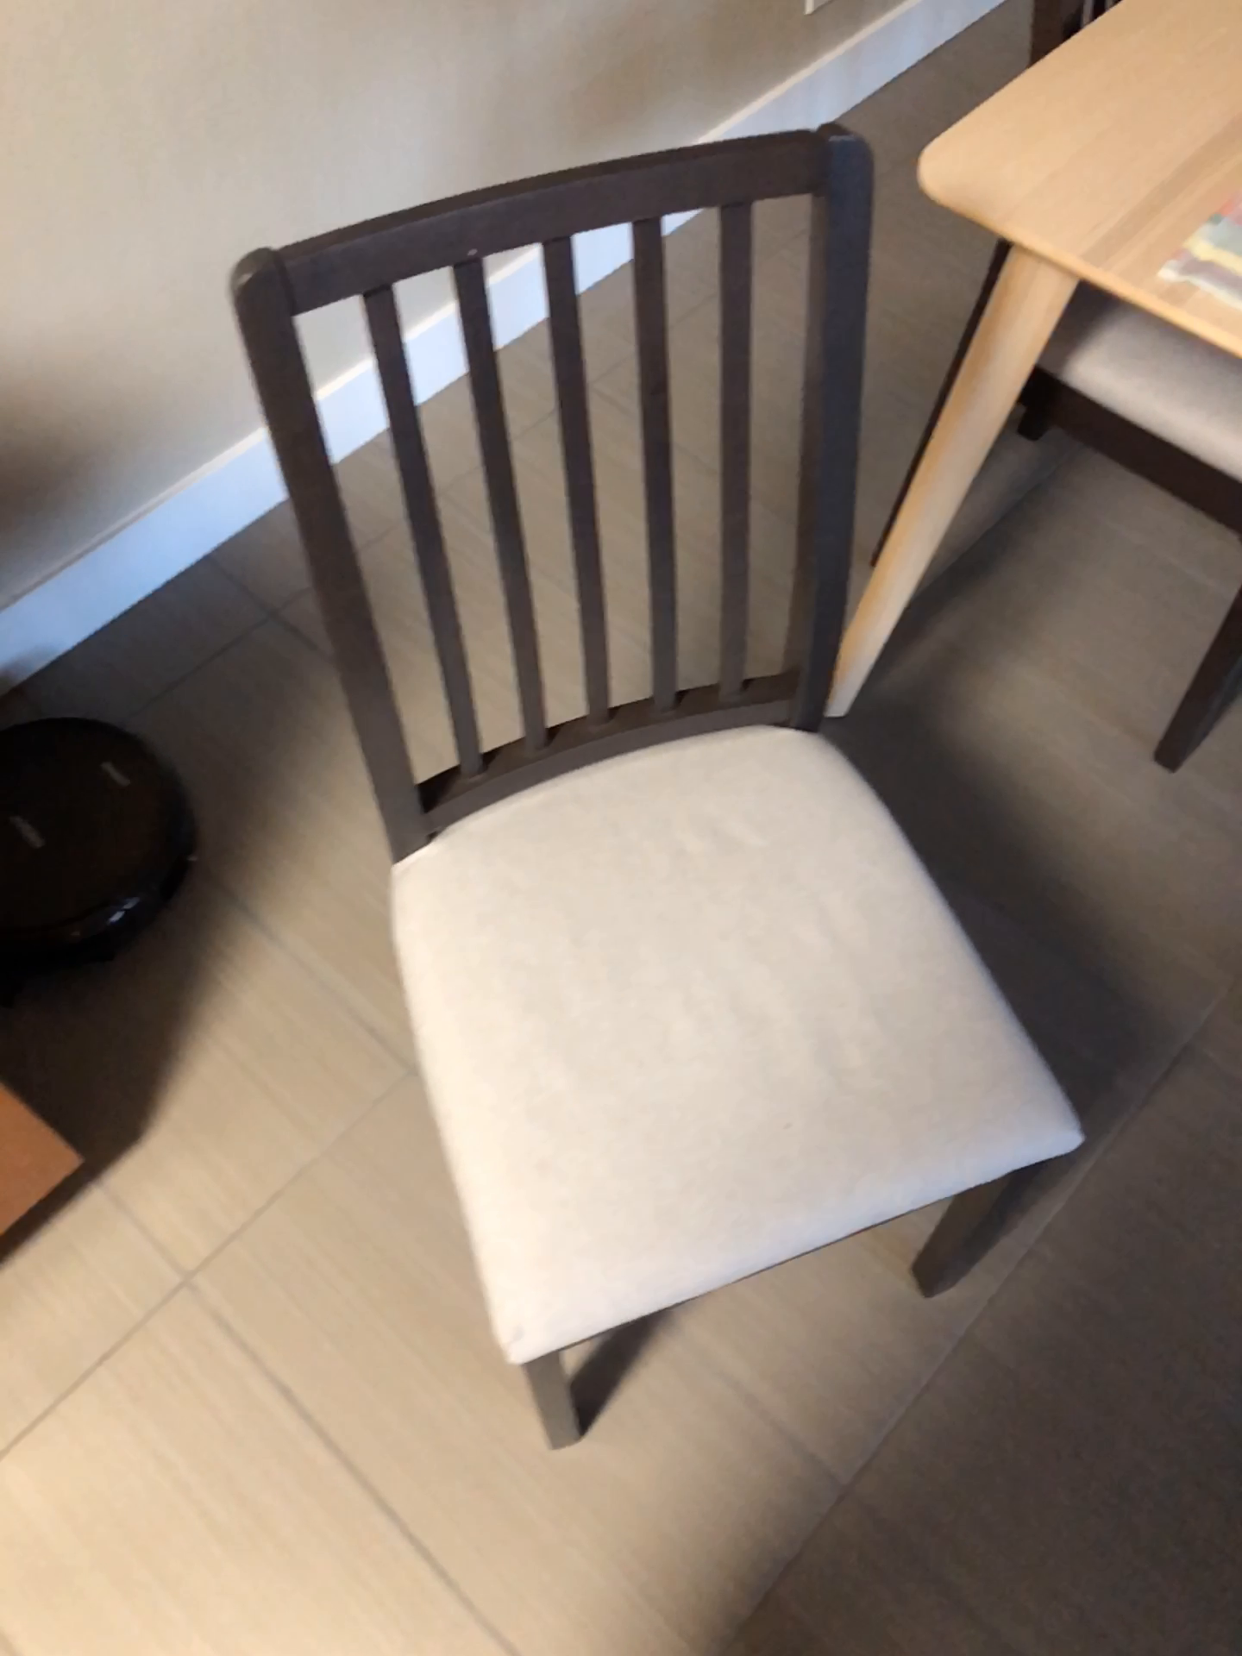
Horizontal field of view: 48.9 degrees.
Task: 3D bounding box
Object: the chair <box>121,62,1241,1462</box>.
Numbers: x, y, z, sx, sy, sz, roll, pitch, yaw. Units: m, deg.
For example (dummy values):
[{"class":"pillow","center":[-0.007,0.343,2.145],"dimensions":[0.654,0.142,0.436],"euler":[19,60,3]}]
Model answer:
[{"class":"chair","center":[0.029,0.103,1.135],"dimensions":[0.480,1.127,0.511],"euler":[-14,59,-9]}]
